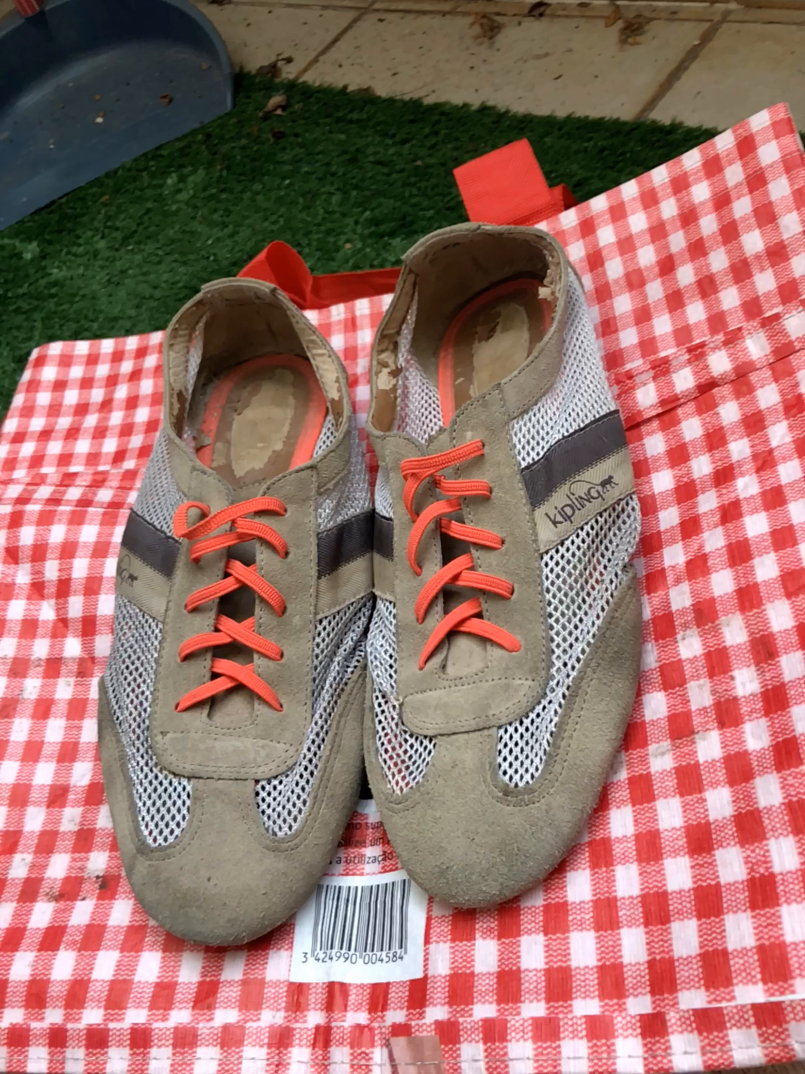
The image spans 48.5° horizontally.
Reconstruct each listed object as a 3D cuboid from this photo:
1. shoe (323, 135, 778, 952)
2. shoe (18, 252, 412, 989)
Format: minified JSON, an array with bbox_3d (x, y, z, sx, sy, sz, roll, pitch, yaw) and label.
[{"bbox_3d":[0.032,-0.001,0.278,0.100,0.050,0.231,-19,61,30],"label":"shoe"},{"bbox_3d":[-0.054,0.015,0.303,0.100,0.050,0.241,-3,64,0],"label":"shoe"}]
